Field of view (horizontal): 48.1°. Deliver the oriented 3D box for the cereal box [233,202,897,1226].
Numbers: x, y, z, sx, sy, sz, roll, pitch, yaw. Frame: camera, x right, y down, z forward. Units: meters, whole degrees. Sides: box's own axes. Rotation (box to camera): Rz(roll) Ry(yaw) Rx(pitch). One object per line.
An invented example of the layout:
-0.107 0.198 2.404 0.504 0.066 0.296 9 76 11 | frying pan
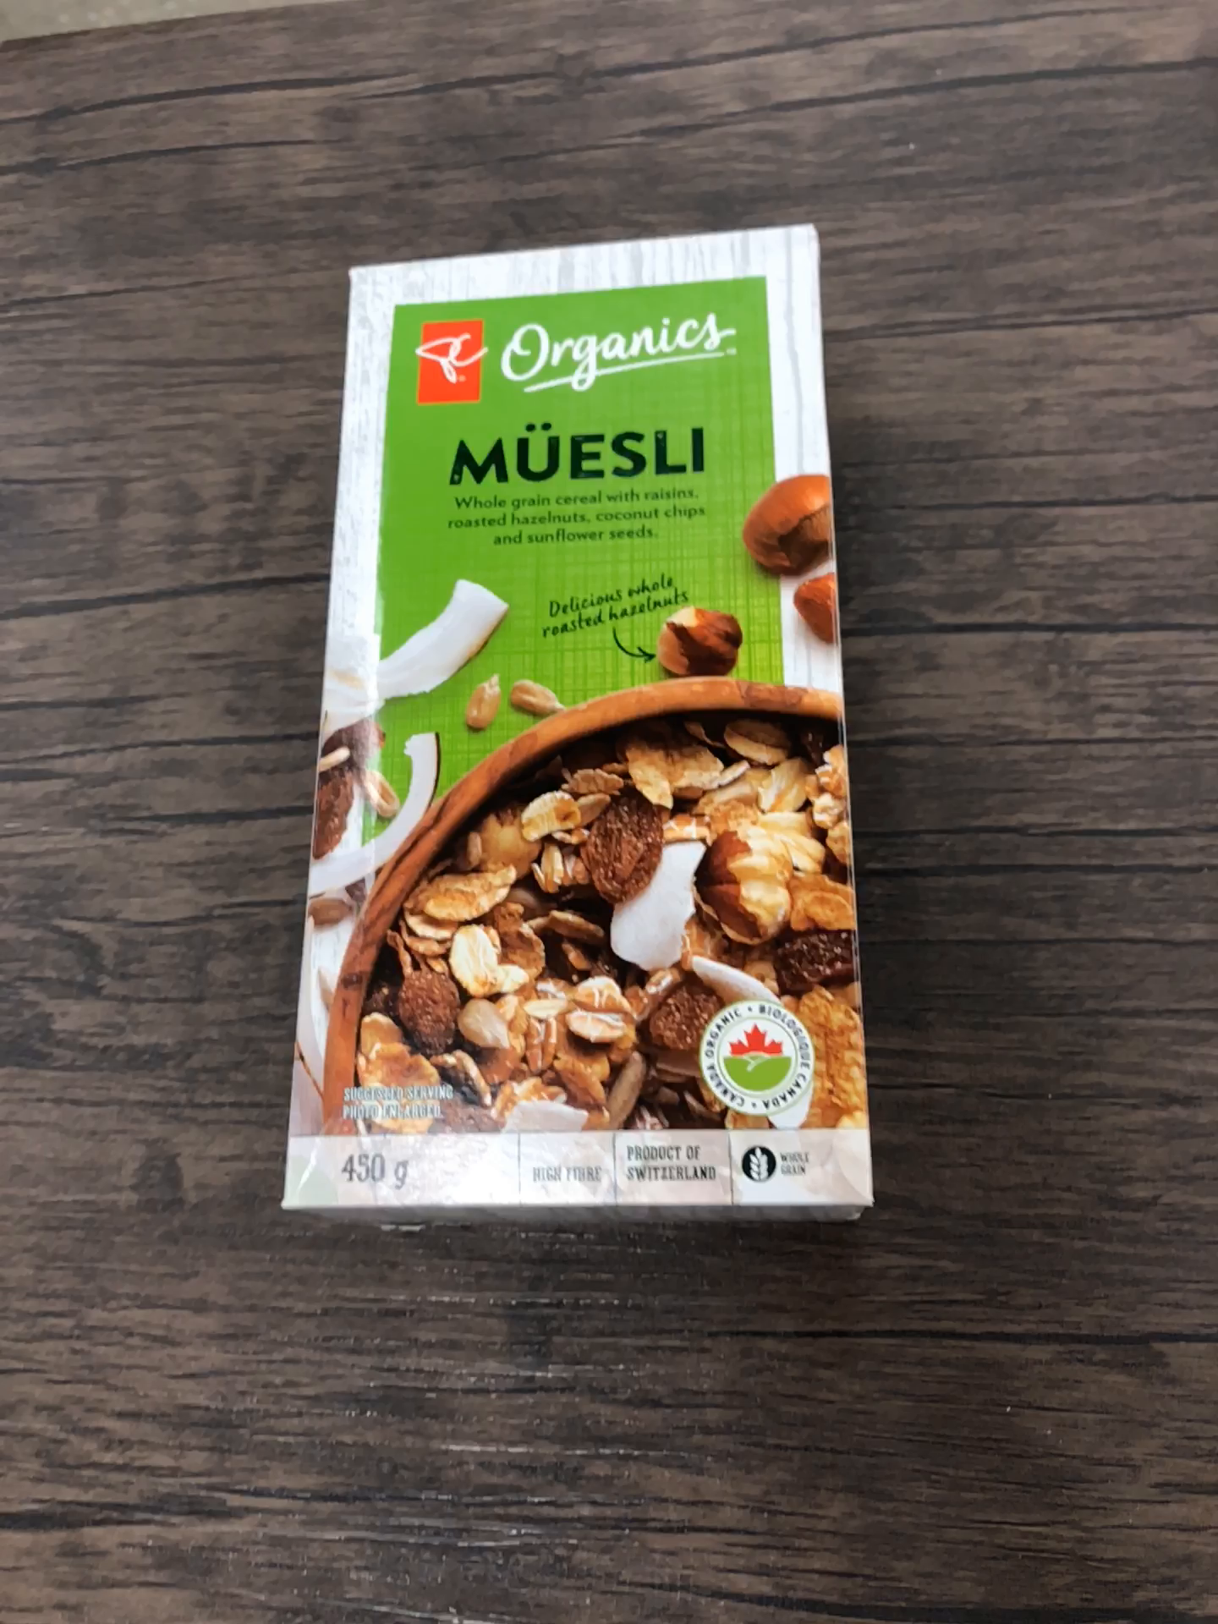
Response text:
-0.007 -0.021 0.331 0.130 0.070 0.230 -3 72 8 | cereal box
